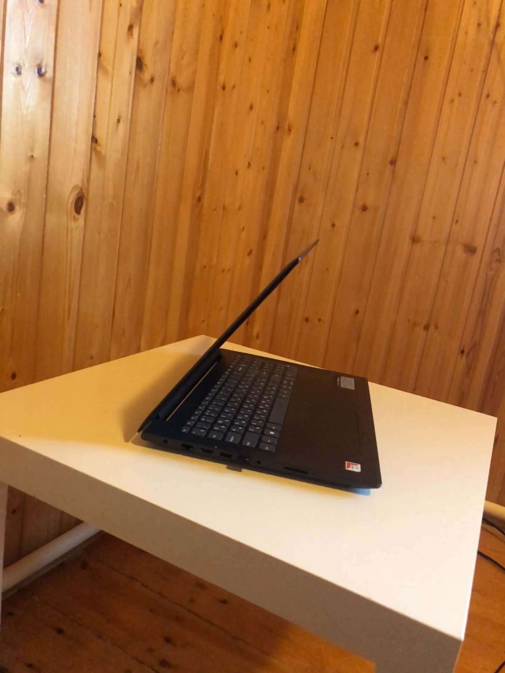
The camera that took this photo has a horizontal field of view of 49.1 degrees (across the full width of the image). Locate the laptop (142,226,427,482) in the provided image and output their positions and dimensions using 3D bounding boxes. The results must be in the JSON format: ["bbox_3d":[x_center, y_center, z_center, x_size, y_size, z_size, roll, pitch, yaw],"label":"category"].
[{"bbox_3d":[0.053,-0.017,0.719,0.249,0.206,0.374,10,14,7],"label":"laptop"}]
